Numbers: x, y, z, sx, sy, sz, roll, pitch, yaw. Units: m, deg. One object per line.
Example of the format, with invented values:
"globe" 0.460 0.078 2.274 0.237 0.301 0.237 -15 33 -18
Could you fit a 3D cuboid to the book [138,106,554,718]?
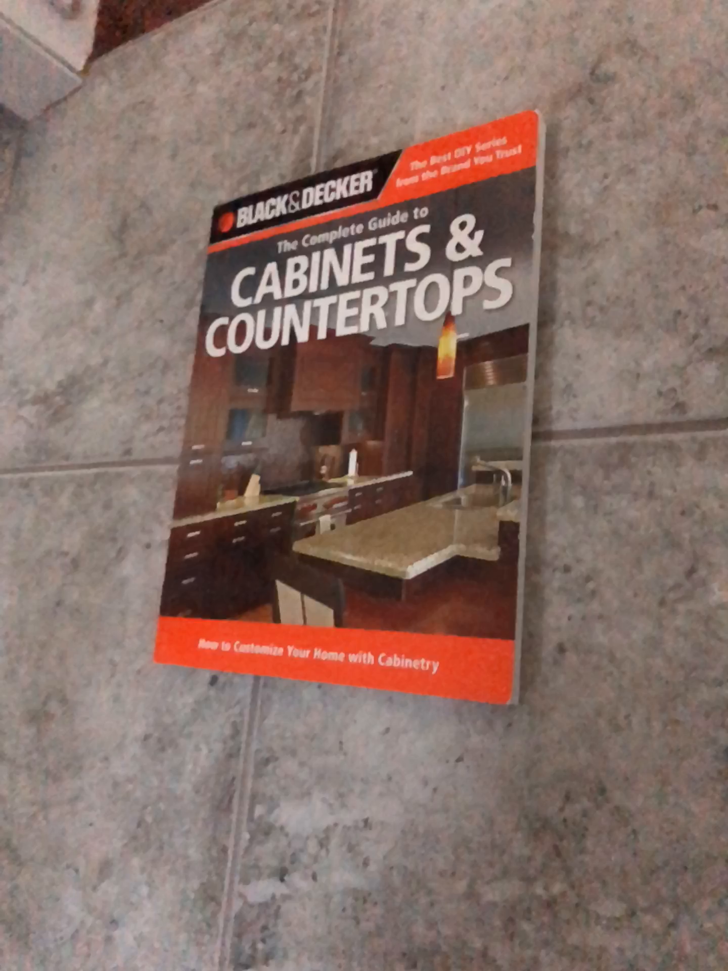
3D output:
"book" -0.015 -0.037 0.425 0.216 0.022 0.281 -2 76 34
